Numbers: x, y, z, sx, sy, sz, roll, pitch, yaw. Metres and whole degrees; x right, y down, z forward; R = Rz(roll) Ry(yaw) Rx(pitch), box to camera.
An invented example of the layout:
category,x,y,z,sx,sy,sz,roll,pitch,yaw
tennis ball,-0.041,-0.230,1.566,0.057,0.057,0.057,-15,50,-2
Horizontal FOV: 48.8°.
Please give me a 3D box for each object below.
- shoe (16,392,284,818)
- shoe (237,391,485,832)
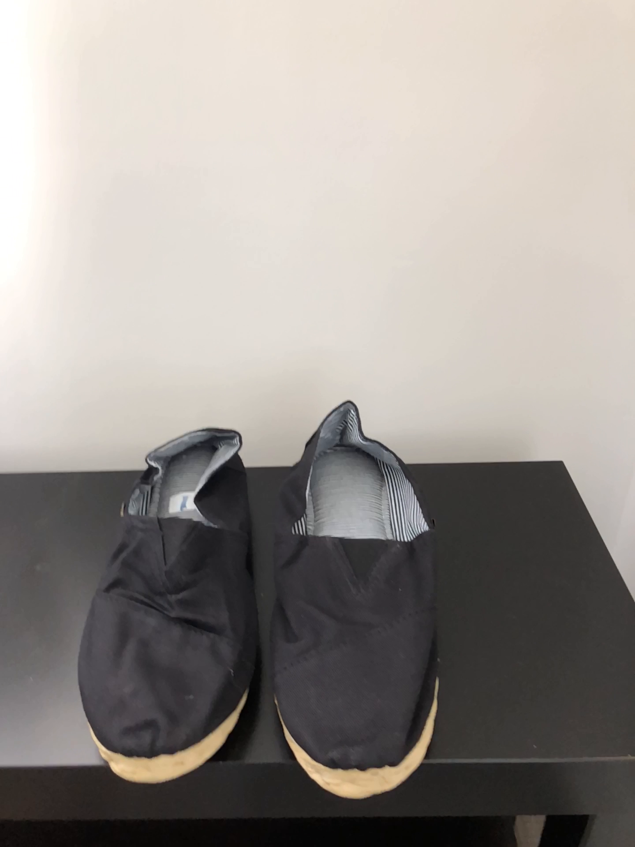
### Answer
category,x,y,z,sx,sy,sz,roll,pitch,yaw
shoe,-0.078,0.084,0.436,0.101,0.080,0.275,-1,32,1
shoe,0.018,0.084,0.424,0.101,0.080,0.275,-1,32,1
